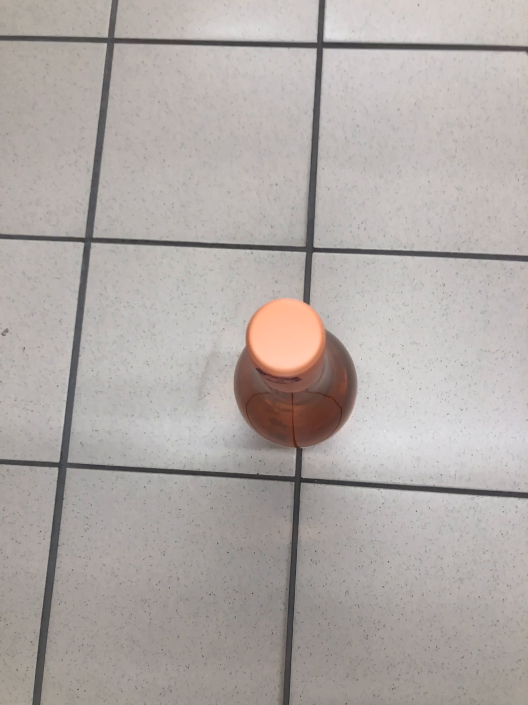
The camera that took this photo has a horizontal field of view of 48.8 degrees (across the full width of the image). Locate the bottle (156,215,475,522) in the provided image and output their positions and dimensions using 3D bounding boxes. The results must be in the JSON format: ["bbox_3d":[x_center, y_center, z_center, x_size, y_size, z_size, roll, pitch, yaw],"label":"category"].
[{"bbox_3d":[0.026,0.027,0.352,0.090,0.280,0.080,29,83,8],"label":"bottle"}]
